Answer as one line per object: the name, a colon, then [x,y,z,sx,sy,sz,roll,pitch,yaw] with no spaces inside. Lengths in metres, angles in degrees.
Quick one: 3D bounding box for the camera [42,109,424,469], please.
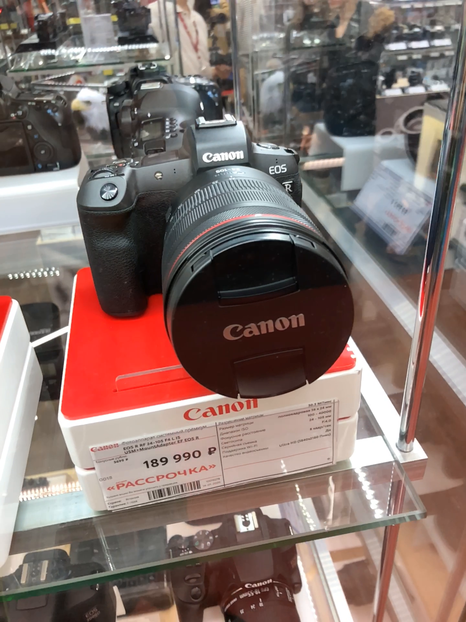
camera: [-0.009,-0.032,0.293,0.140,0.110,0.184,-8,33,-6]
